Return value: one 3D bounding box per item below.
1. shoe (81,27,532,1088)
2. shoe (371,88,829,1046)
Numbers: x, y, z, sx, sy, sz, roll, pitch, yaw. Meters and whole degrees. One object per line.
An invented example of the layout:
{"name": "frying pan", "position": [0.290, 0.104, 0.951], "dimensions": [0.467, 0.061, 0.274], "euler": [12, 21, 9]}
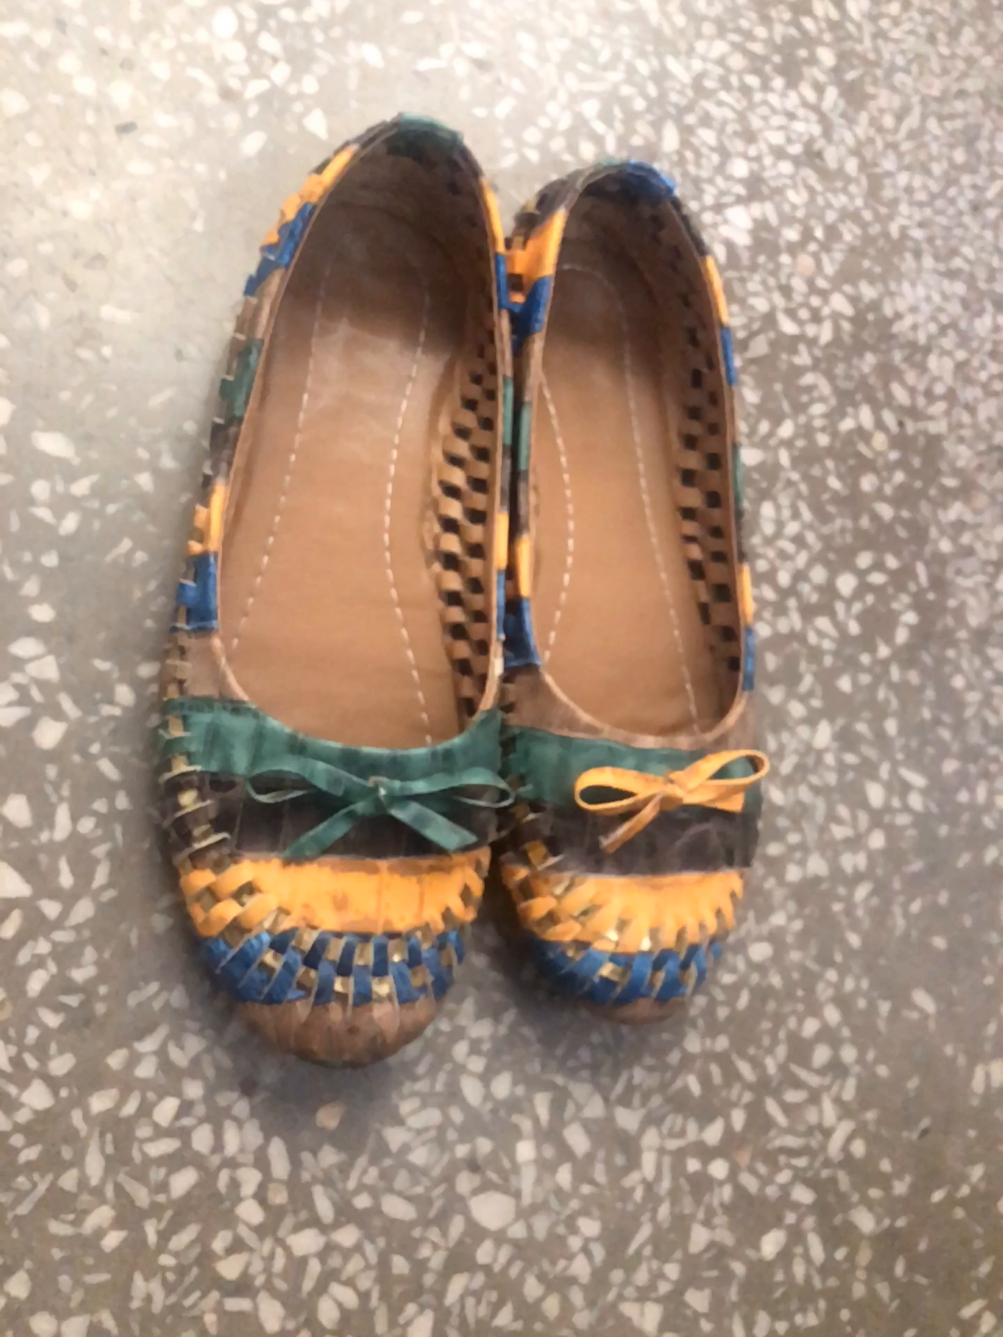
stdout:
{"name": "shoe", "position": [-0.049, -0.024, 0.291], "dimensions": [0.090, 0.074, 0.237], "euler": [6, 78, -21]}
{"name": "shoe", "position": [0.020, -0.026, 0.320], "dimensions": [0.090, 0.074, 0.237], "euler": [1, 79, -22]}
